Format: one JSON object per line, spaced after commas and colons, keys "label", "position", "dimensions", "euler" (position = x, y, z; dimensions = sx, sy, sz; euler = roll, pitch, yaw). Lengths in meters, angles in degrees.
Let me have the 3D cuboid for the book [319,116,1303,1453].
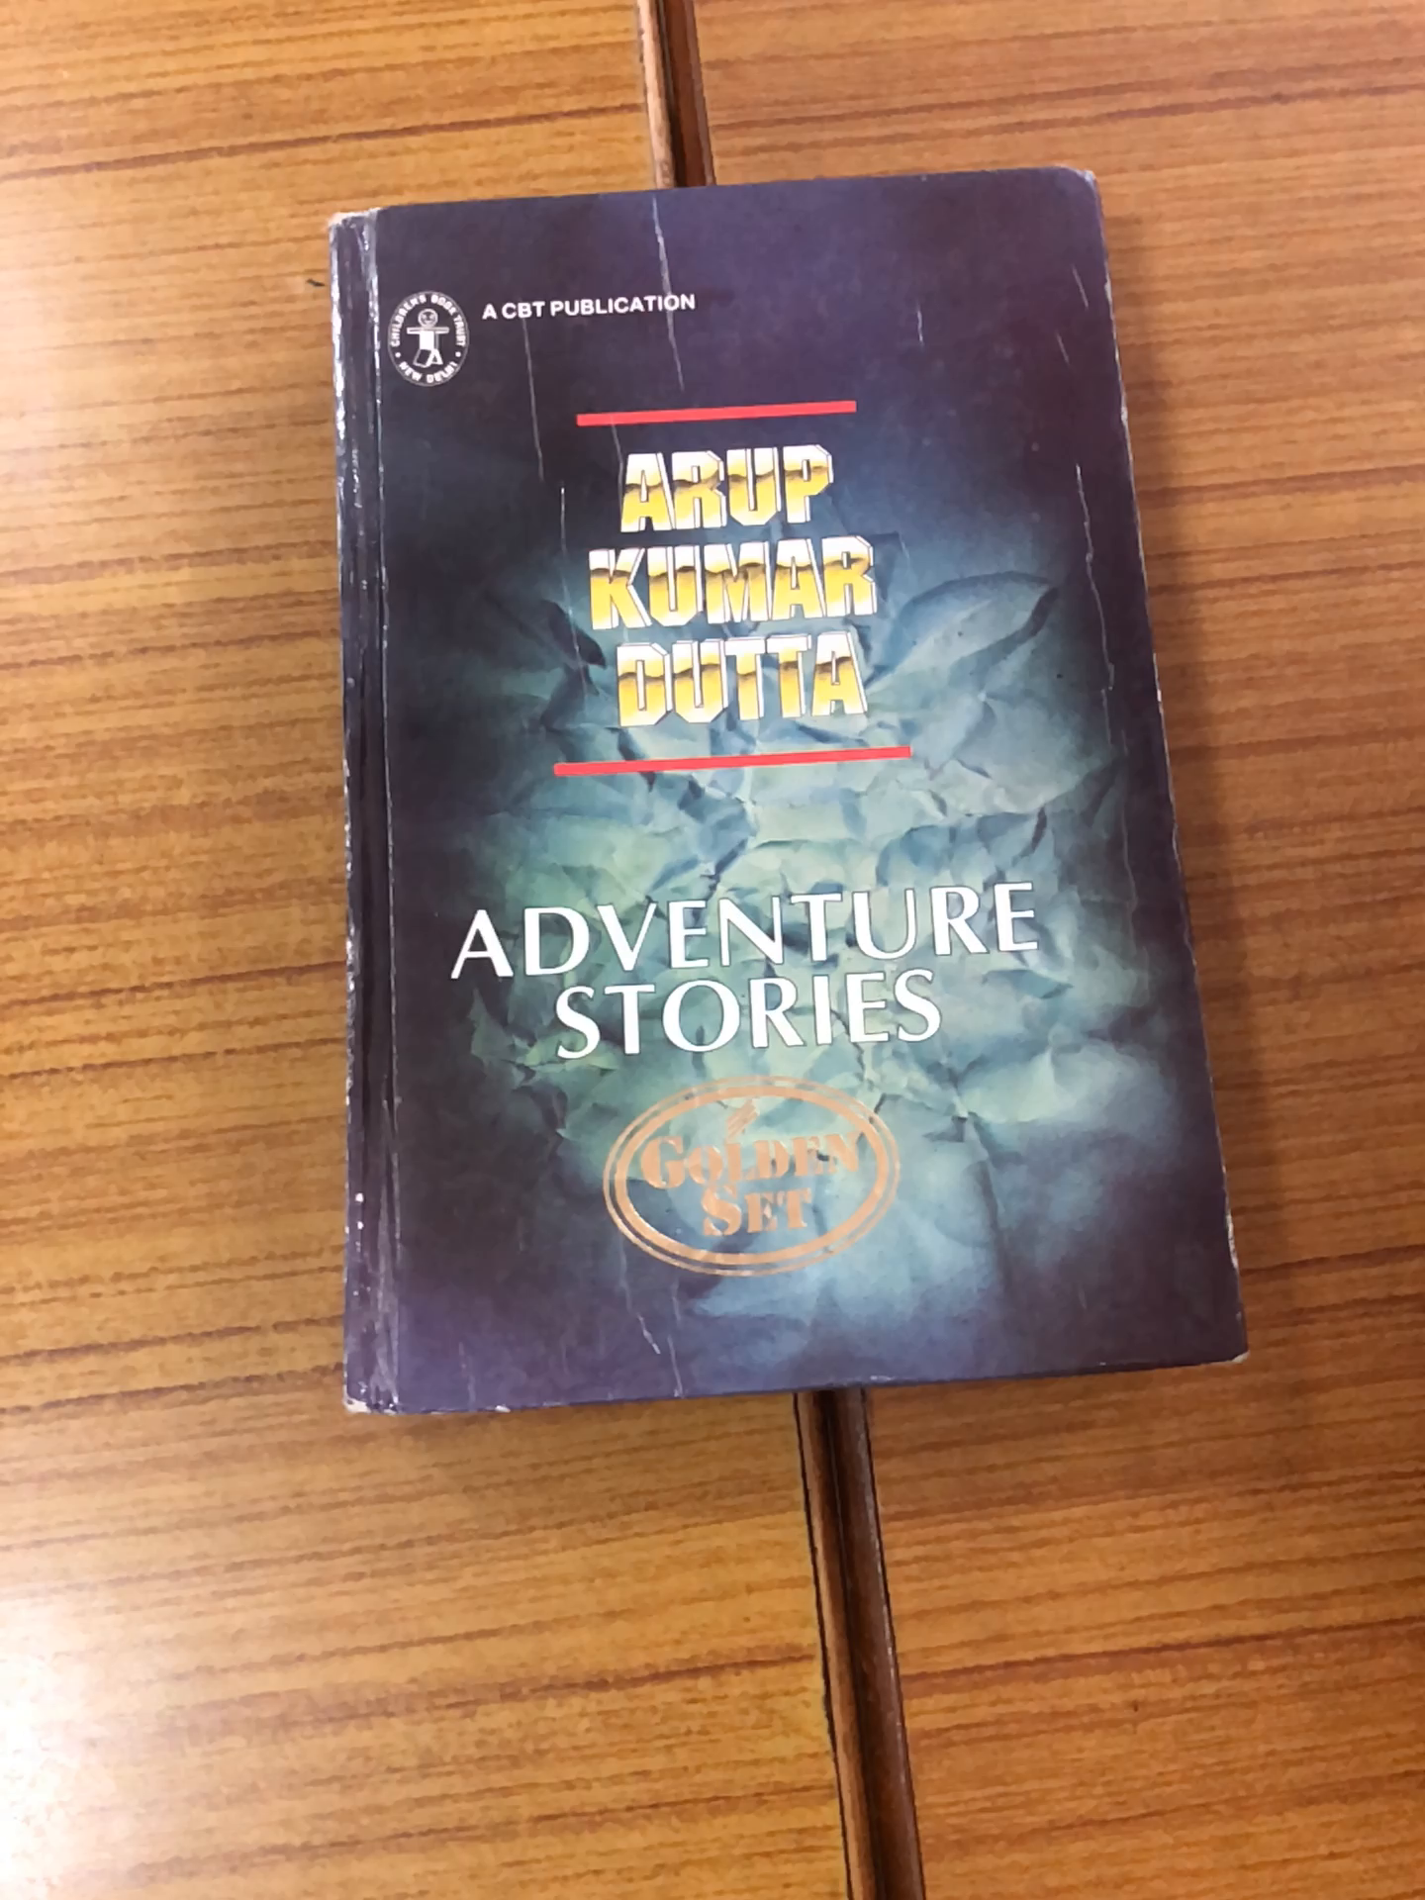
{"label": "book", "position": [0.011, -0.033, 0.279], "dimensions": [0.145, 0.036, 0.218], "euler": [-4, 80, -1]}
